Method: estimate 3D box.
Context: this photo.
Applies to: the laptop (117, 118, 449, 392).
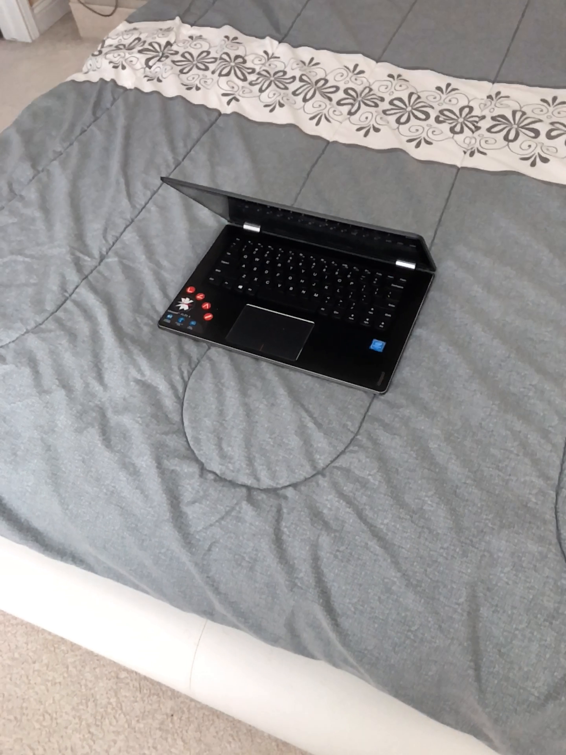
[{"bbox_3d":[0.011,-0.155,0.755,0.305,0.167,0.215,18,57,17],"label":"laptop"}]
